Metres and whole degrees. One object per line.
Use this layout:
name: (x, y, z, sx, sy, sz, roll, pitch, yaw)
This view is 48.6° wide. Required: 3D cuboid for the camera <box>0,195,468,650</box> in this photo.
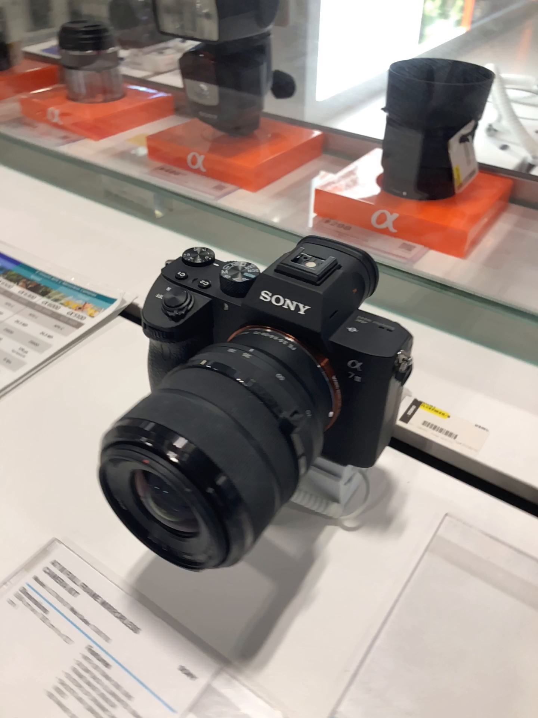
camera: (-0.013, 0.007, 0.272, 0.140, 0.079, 0.161, 23, 44, 25)
